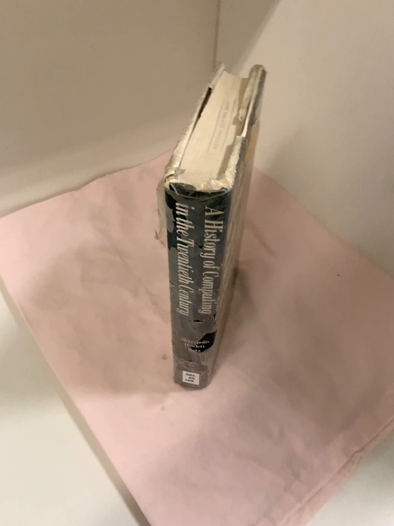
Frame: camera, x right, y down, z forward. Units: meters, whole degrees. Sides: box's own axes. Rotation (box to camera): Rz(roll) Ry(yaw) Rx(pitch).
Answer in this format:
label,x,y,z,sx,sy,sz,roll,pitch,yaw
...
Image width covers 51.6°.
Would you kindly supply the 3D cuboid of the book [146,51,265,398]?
label,x,y,z,sx,sy,sz,roll,pitch,yaw
book,0.013,-0.020,0.354,0.042,0.247,0.168,10,48,9
